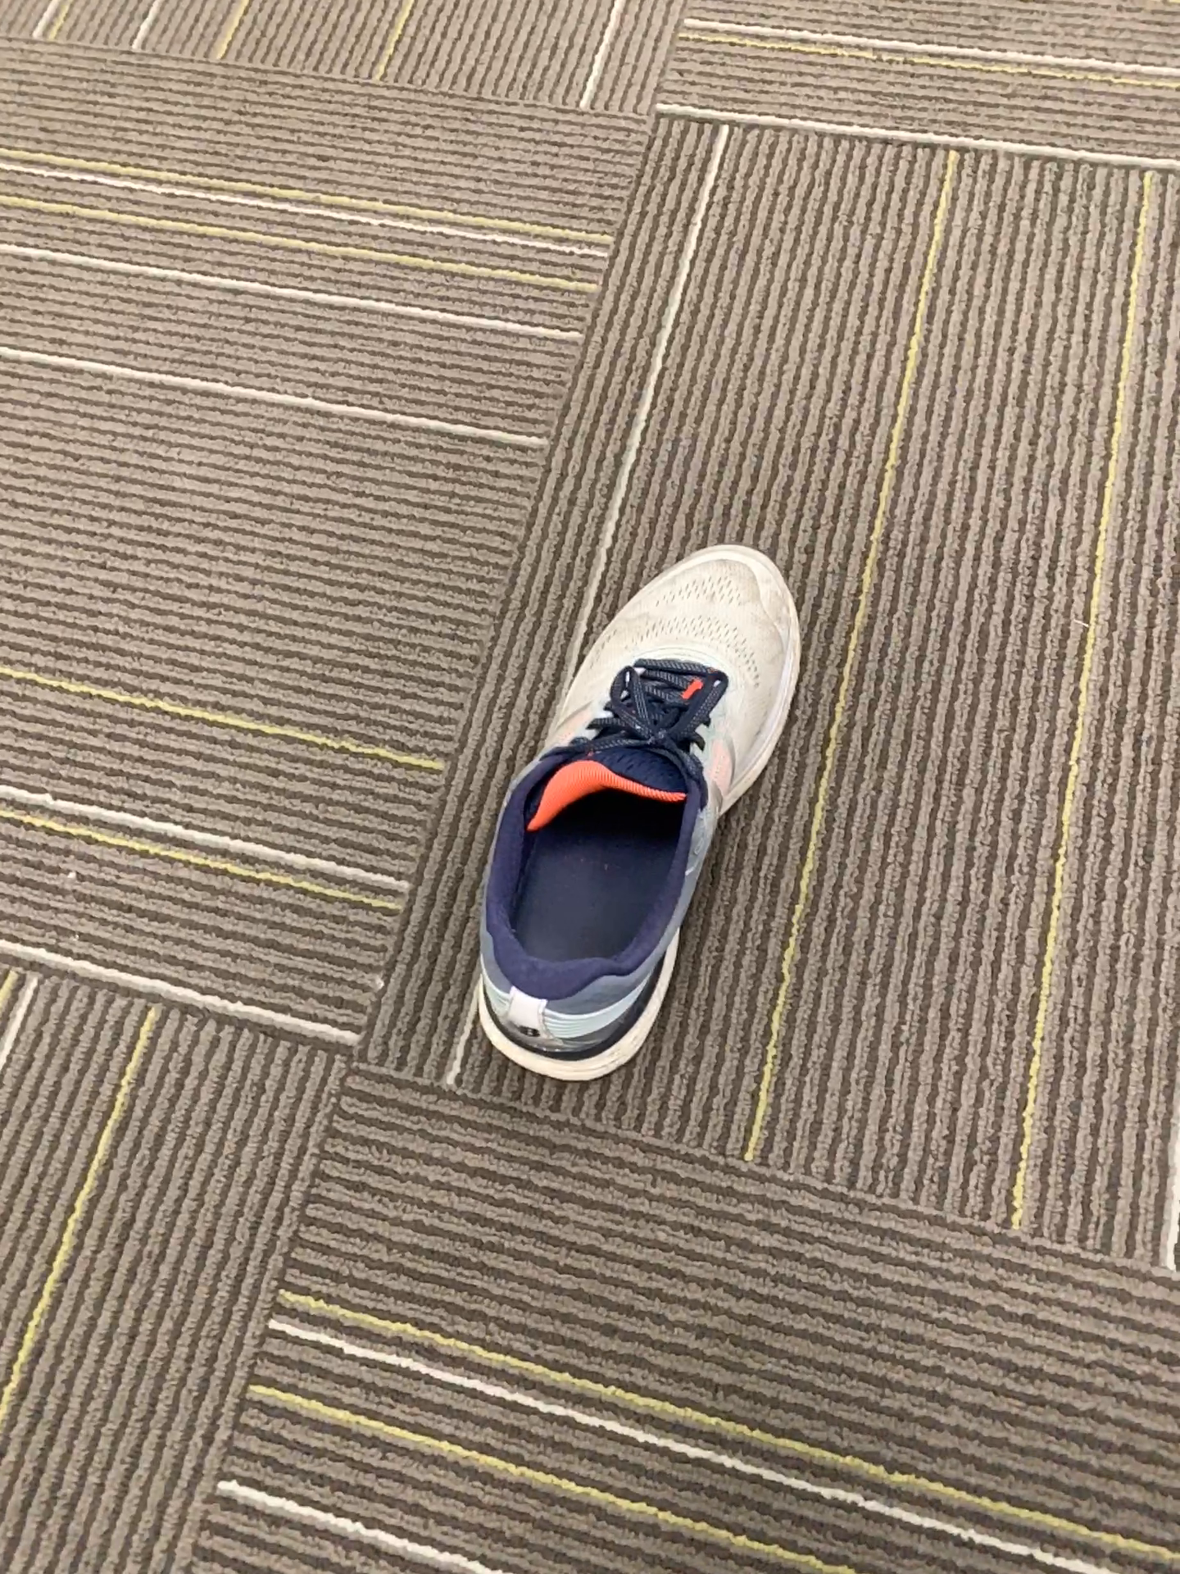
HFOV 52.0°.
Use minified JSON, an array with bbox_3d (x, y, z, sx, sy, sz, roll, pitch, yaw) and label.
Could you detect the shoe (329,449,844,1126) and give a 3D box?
[{"bbox_3d":[0.008,-0.006,0.580,0.130,0.080,0.290,20,71,12],"label":"shoe"}]
